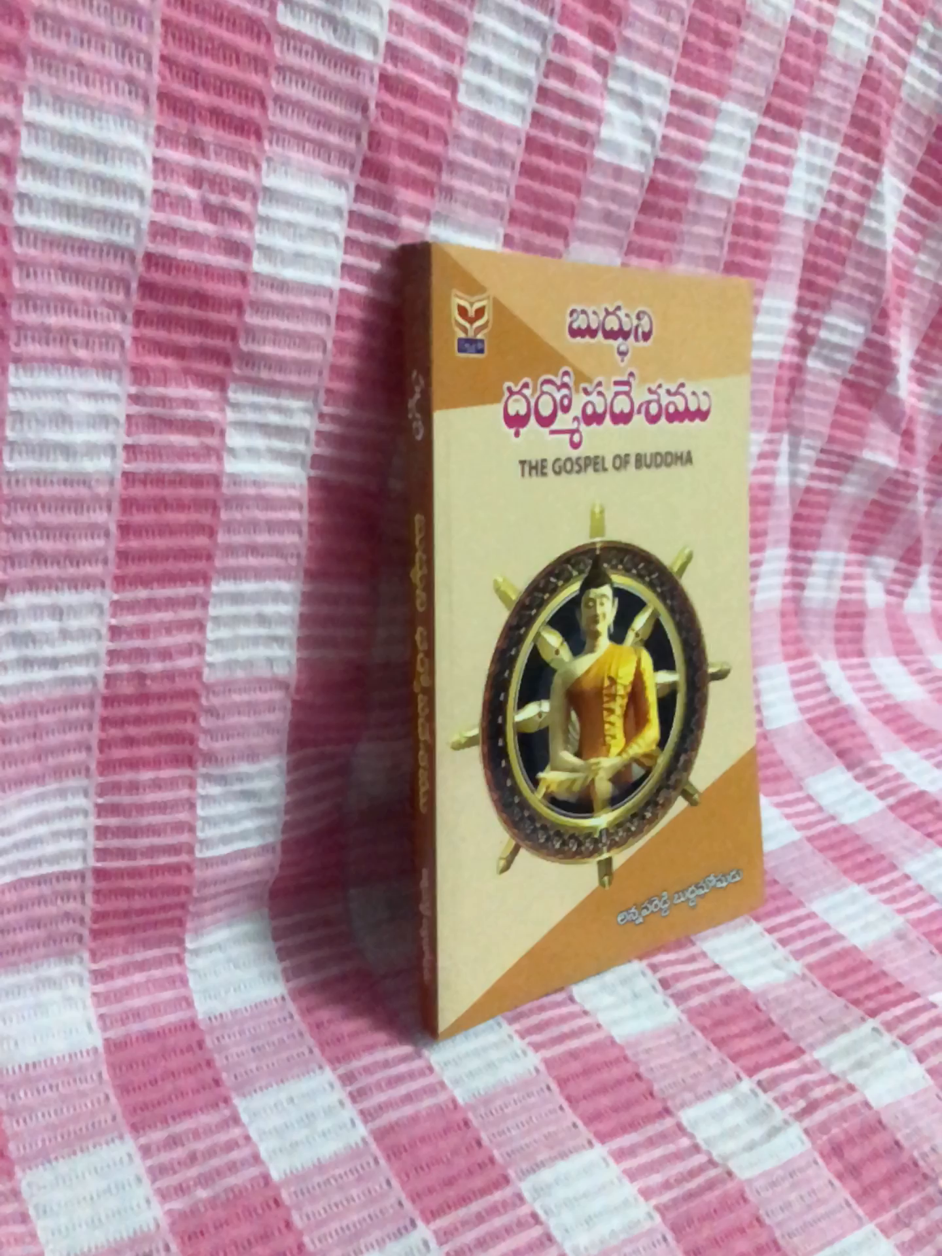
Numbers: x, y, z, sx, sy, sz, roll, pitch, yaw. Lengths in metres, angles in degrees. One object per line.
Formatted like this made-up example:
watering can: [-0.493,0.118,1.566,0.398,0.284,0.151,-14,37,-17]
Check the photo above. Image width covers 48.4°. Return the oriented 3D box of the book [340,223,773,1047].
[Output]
book: [0.035,-0.002,0.310,0.141,0.210,0.020,-8,10,-34]
